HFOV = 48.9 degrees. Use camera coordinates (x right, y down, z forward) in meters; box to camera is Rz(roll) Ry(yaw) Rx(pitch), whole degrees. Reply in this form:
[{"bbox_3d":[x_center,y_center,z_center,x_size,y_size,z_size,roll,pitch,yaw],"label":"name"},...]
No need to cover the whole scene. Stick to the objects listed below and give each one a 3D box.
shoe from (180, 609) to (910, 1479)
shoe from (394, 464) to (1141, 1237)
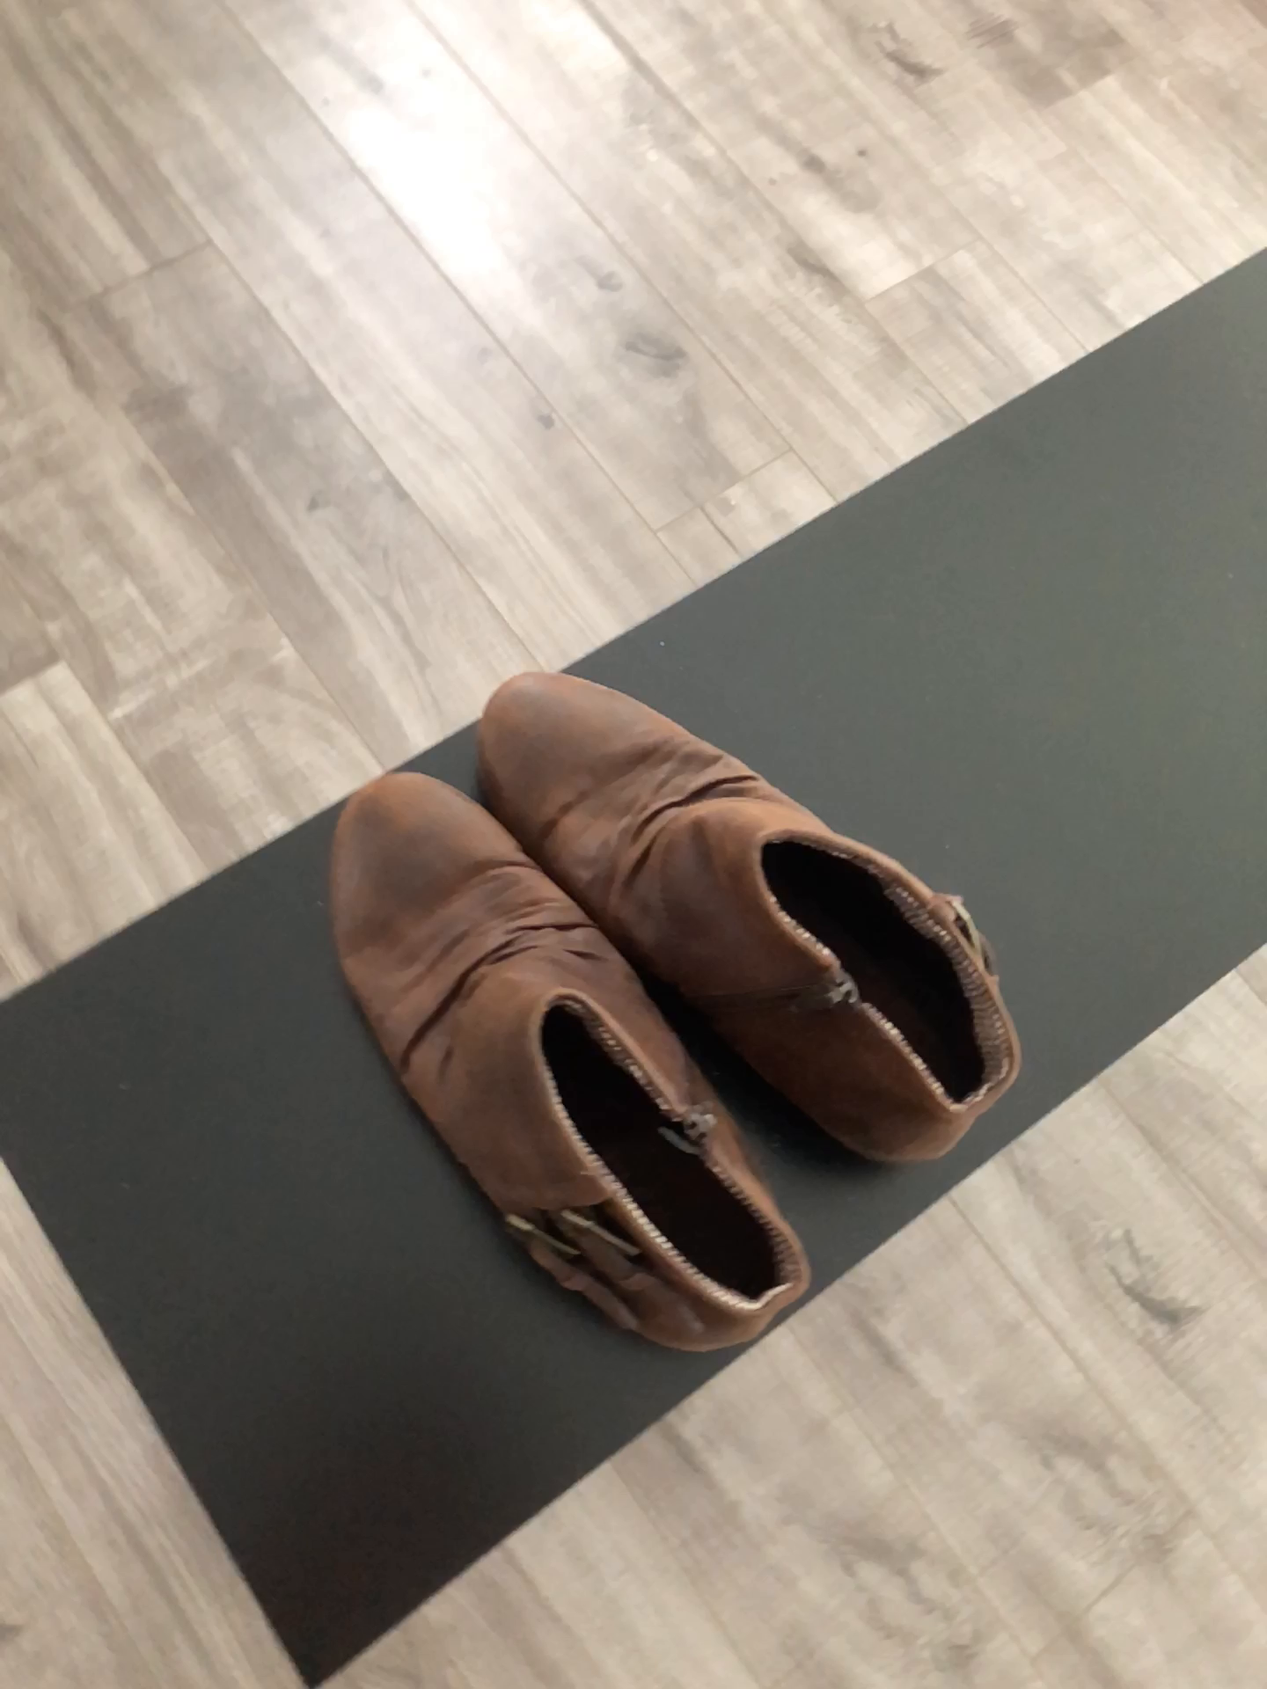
[{"bbox_3d":[-0.035,0.063,0.449,0.090,0.110,0.240,-32,78,-16],"label":"shoe"},{"bbox_3d":[0.032,0.010,0.486,0.090,0.130,0.240,-40,80,-17],"label":"shoe"}]
